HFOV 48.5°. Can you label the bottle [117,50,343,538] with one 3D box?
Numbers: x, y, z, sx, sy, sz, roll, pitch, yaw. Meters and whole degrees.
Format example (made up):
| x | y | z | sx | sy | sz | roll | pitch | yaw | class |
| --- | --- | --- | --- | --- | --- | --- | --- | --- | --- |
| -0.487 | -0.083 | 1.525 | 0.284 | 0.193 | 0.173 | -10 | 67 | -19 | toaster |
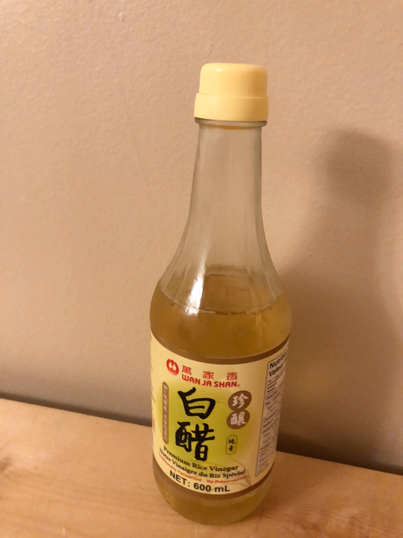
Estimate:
| x | y | z | sx | sy | sz | roll | pitch | yaw | class |
| --- | --- | --- | --- | --- | --- | --- | --- | --- | --- |
| 0.016 | 0.021 | 0.235 | 0.080 | 0.239 | 0.080 | 1 | 22 | -1 | bottle |
